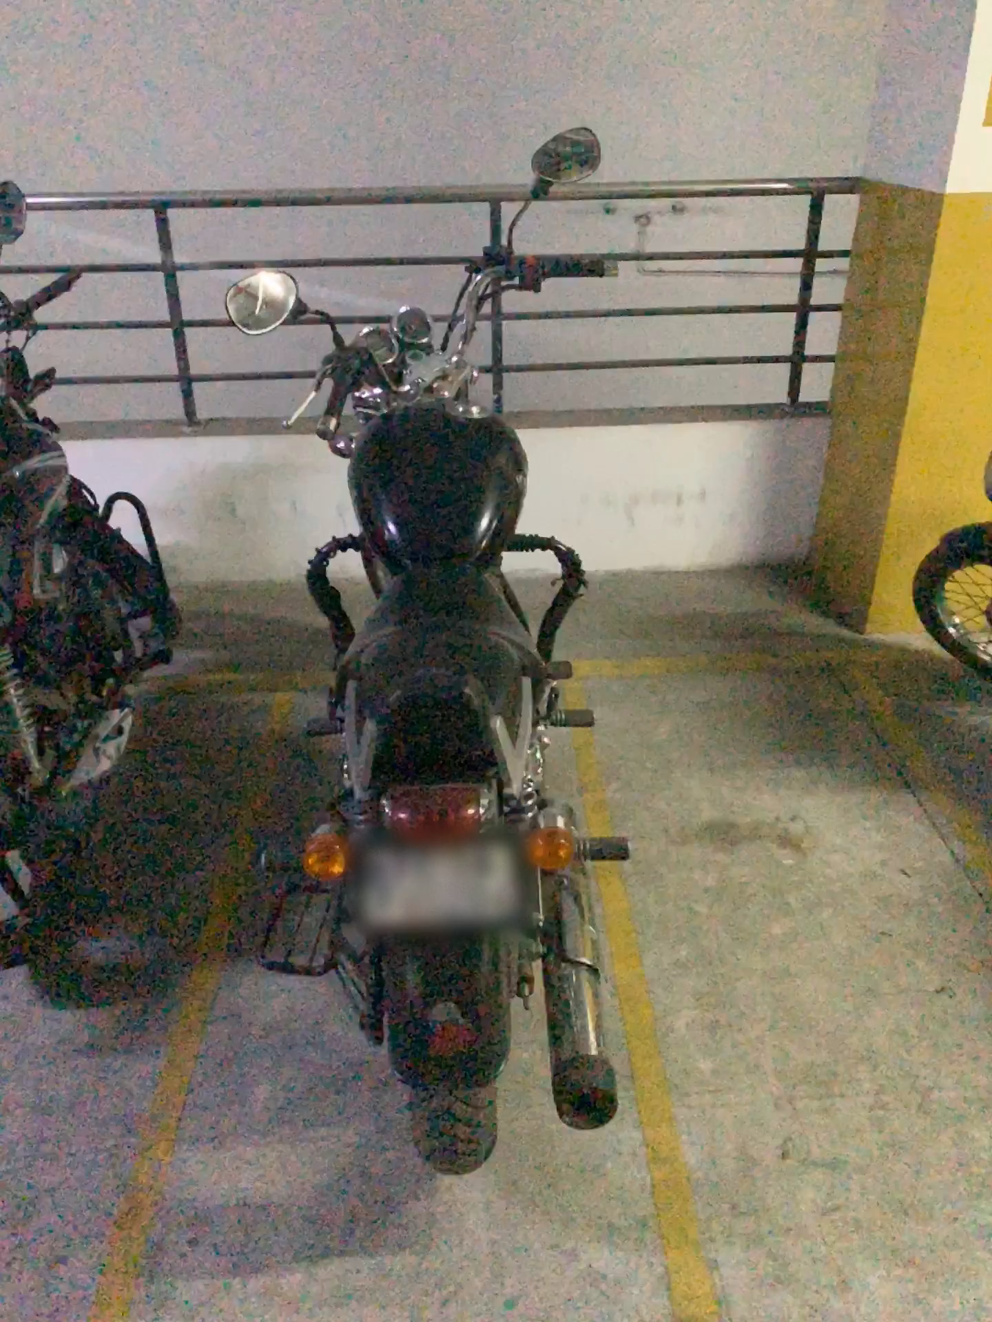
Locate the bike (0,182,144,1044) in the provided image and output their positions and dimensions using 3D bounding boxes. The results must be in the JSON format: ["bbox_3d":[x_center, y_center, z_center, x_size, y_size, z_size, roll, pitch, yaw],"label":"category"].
[{"bbox_3d":[-1.410,-0.260,2.370,0.719,1.277,1.572,-4,33,-5],"label":"bike"}]

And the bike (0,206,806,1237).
[{"bbox_3d":[-0.275,-0.127,2.048,0.851,1.232,1.807,-5,30,-8],"label":"bike"}]
